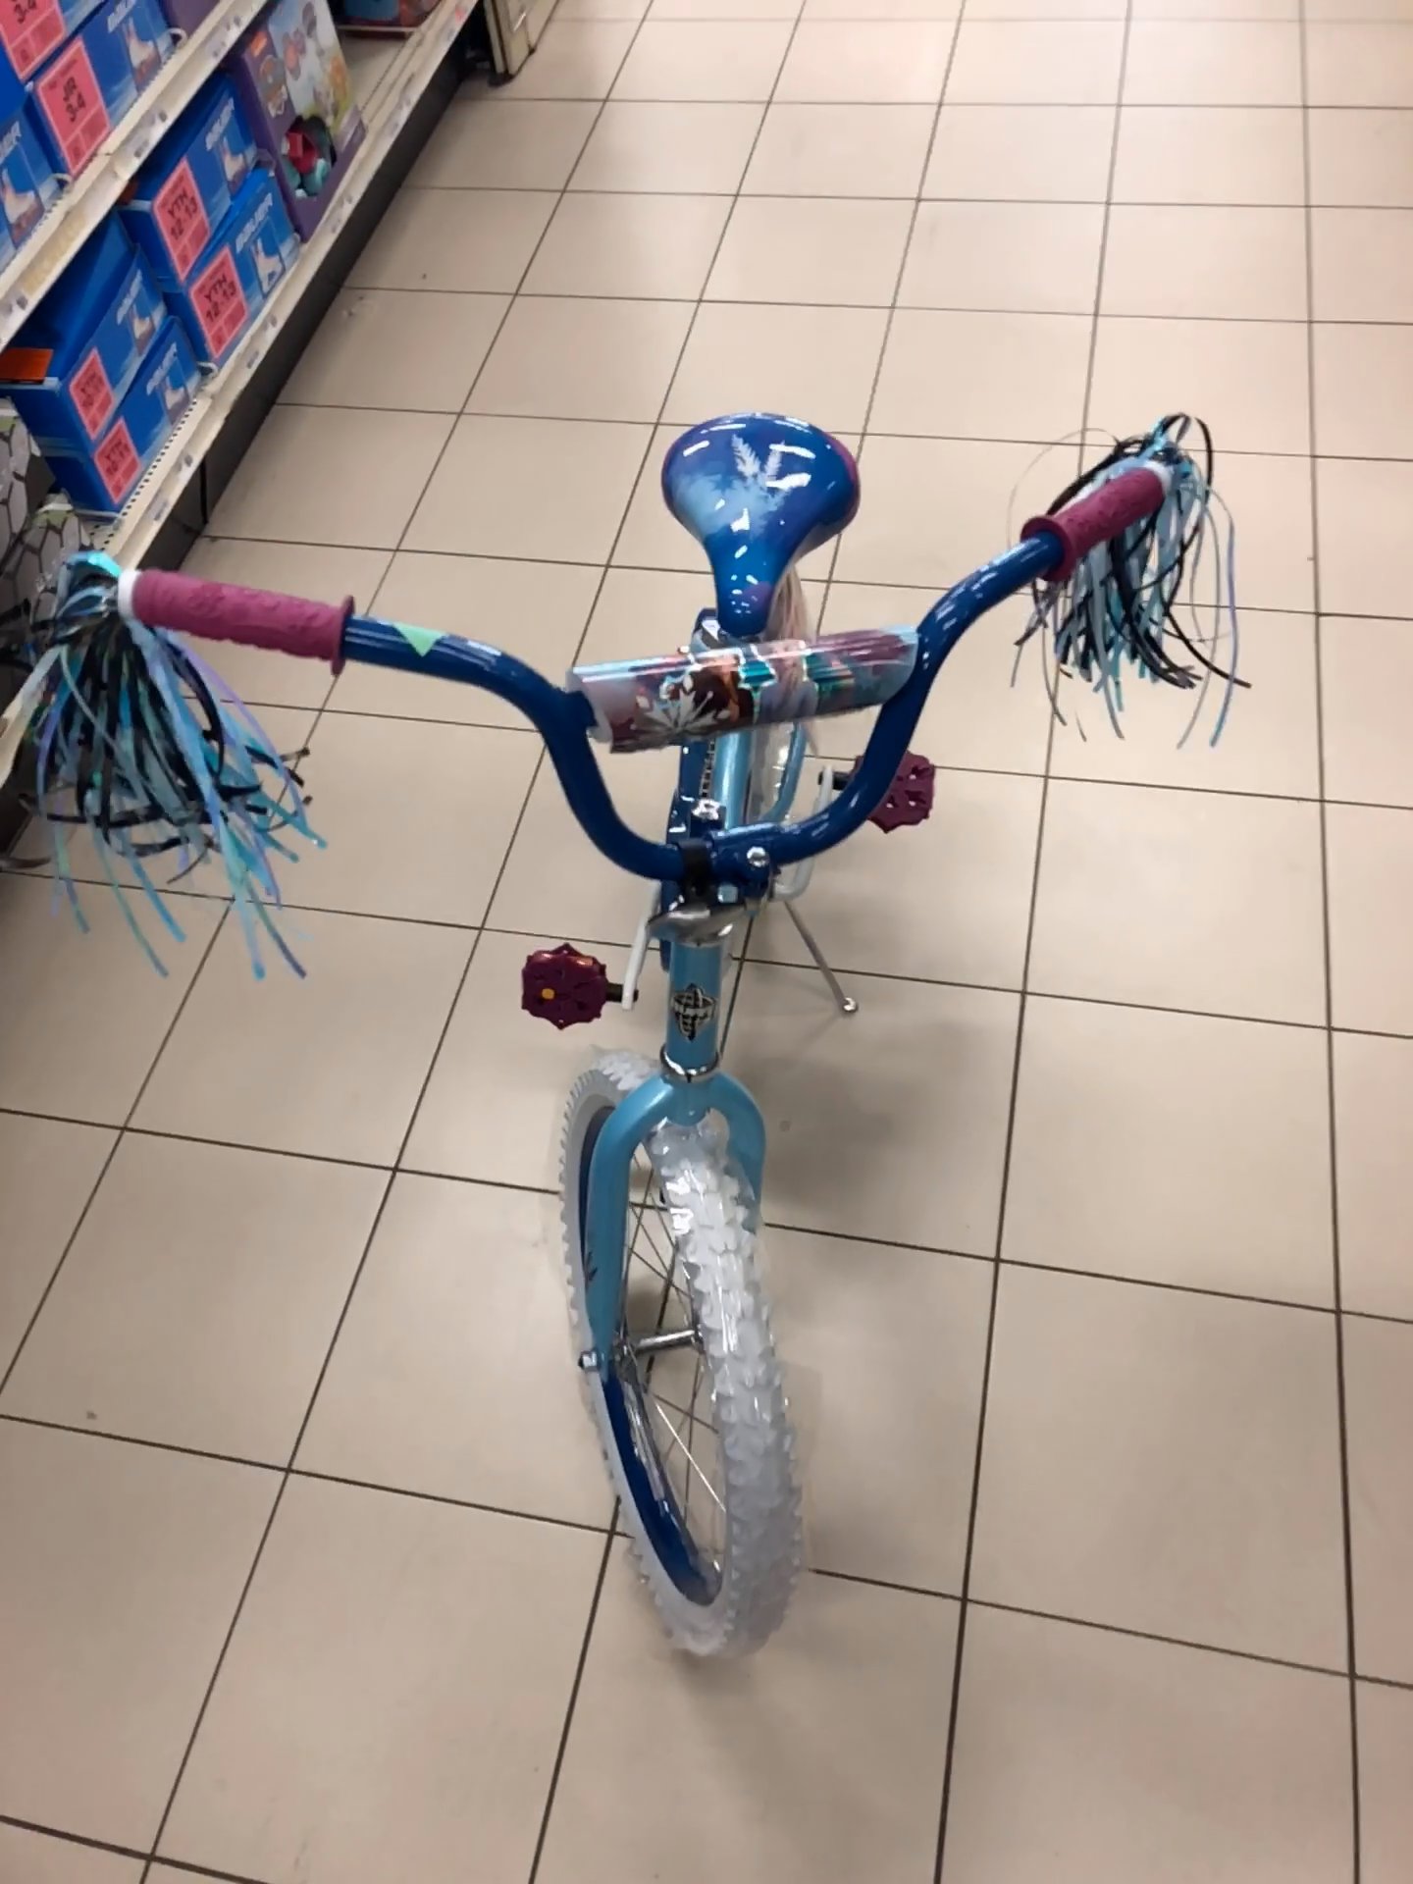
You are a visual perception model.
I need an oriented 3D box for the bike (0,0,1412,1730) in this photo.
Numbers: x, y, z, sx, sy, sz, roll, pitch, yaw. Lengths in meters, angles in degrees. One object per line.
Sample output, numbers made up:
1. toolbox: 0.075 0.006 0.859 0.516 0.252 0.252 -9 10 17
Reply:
1. bike: 0.071 -0.121 1.193 0.640 0.953 1.180 -1 52 6
